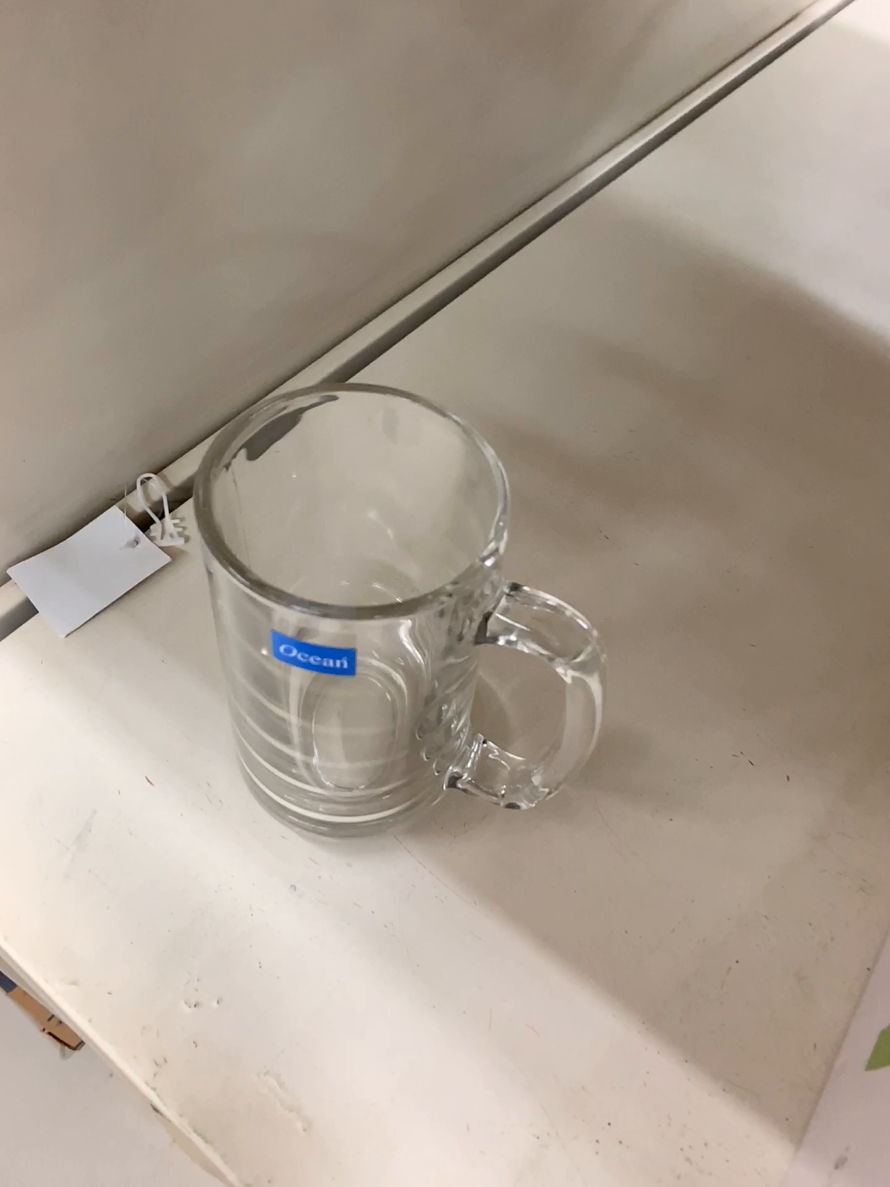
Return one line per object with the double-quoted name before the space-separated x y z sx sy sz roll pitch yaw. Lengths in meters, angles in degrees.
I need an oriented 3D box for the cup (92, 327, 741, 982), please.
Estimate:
"cup" -0.009 0.022 0.255 0.120 0.129 0.080 28 56 15
